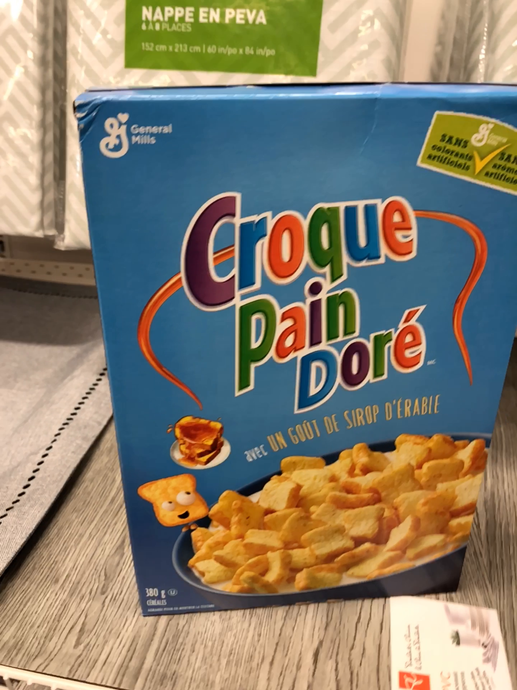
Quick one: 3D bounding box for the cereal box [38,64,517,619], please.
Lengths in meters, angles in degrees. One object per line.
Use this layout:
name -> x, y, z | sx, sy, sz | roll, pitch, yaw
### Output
cereal box -> 0.026, 0.013, 0.294 | 0.210, 0.279, 0.050 | -2, 26, -4
